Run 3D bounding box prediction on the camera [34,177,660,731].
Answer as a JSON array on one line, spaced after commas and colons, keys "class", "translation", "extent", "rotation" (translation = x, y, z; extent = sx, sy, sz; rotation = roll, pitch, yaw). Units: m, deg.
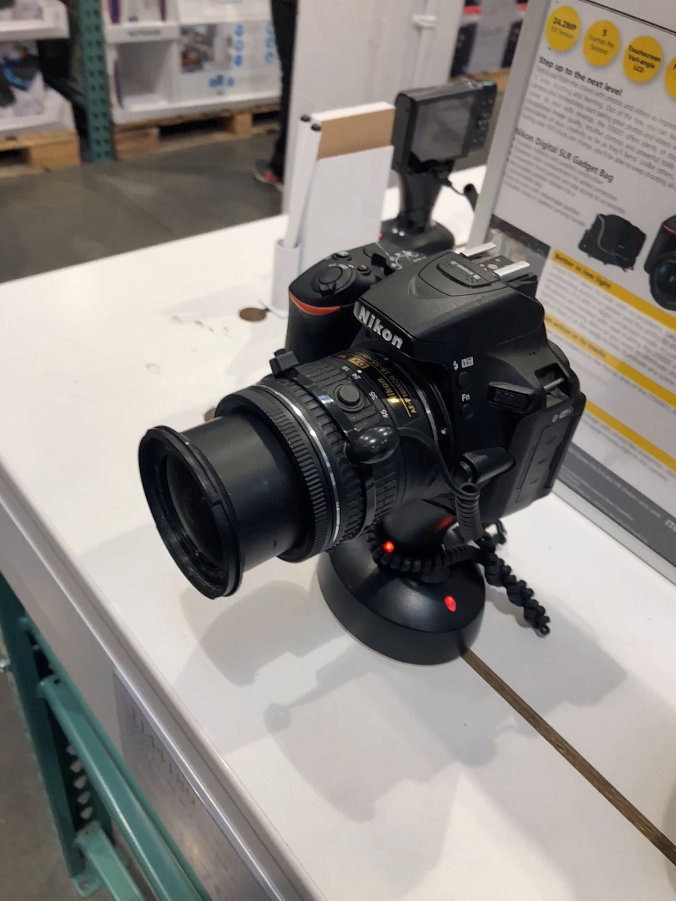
[{"class": "camera", "translation": [-0.001, -0.016, 0.285], "extent": [0.160, 0.099, 0.141], "rotation": [-23, 51, -32]}]
